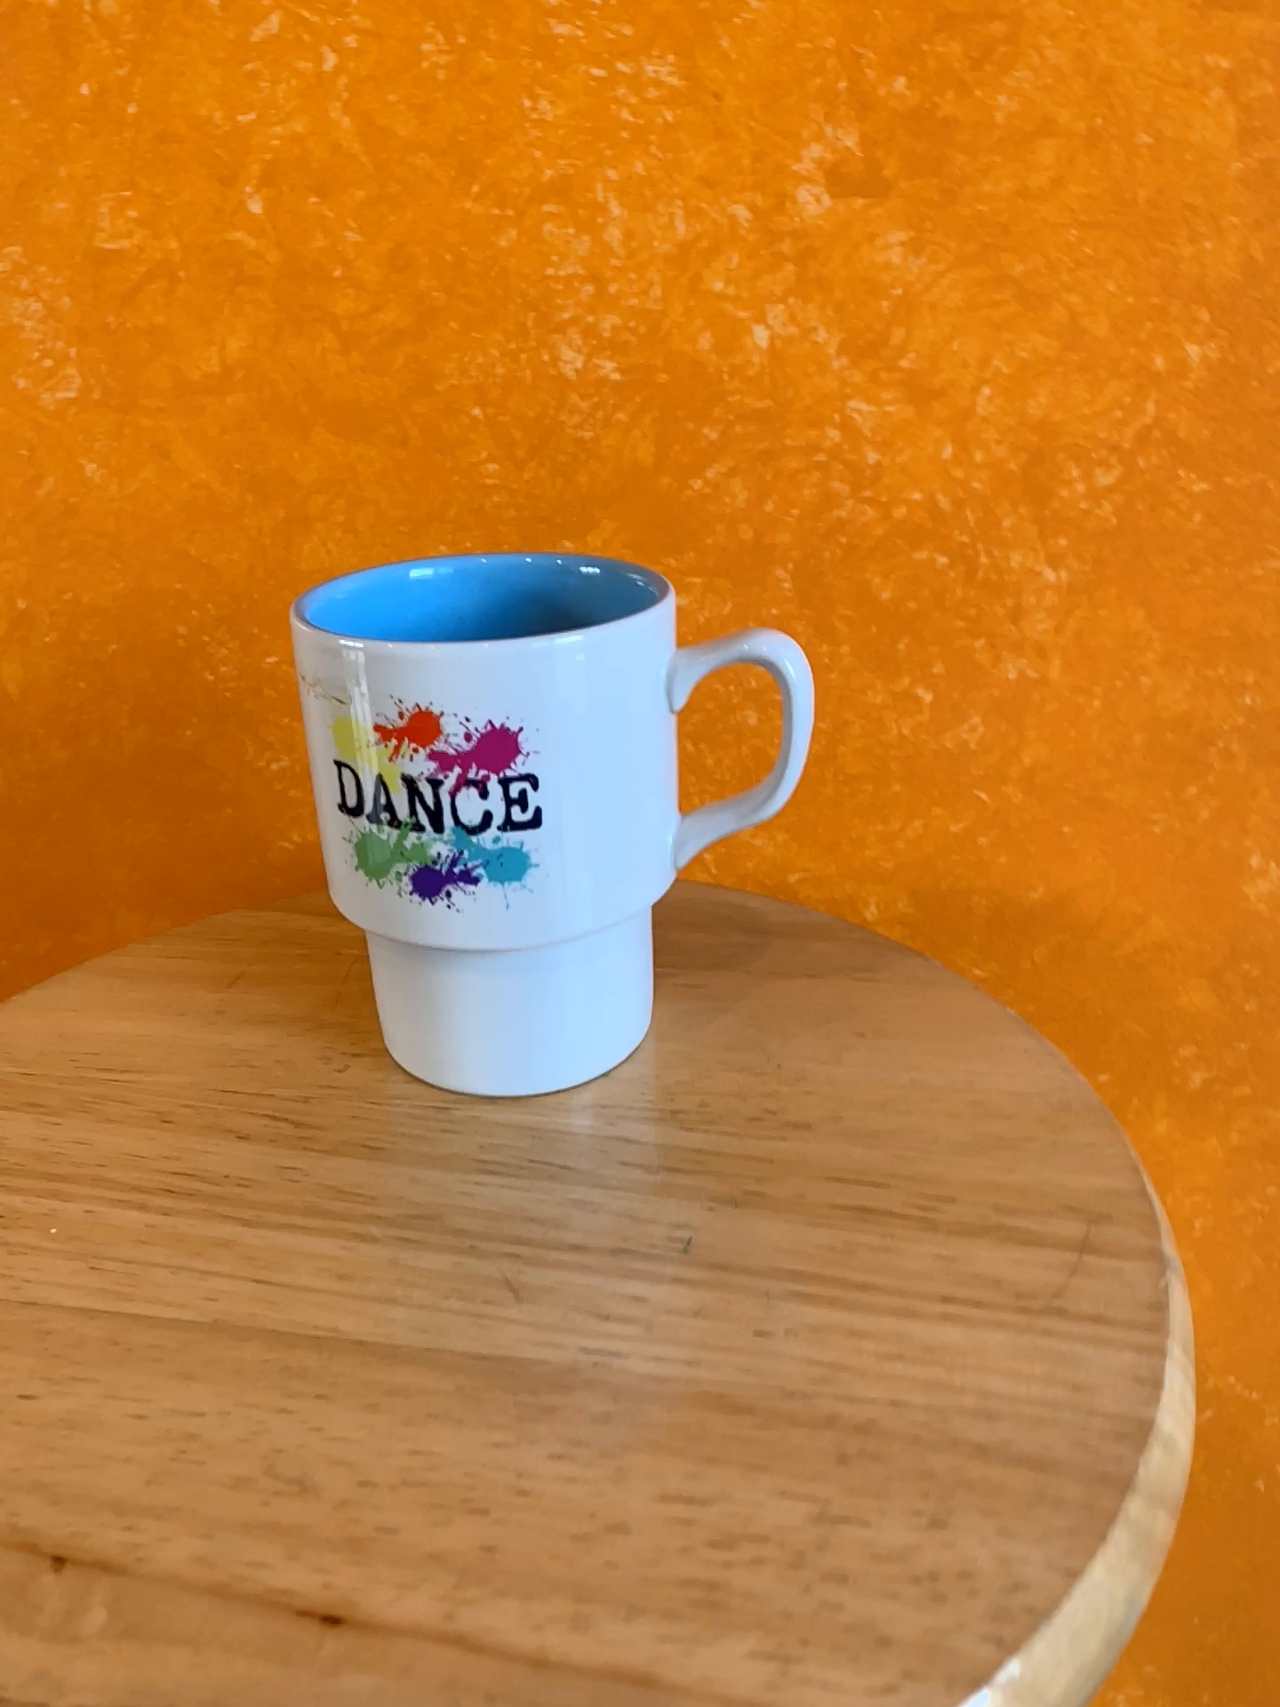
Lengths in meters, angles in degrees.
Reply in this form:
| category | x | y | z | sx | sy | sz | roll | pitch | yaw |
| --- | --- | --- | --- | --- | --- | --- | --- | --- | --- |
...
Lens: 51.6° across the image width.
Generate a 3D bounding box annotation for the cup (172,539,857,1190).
| category | x | y | z | sx | sy | sz | roll | pitch | yaw |
| --- | --- | --- | --- | --- | --- | --- | --- | --- | --- |
| cup | -0.021 | -0.005 | 0.298 | 0.120 | 0.109 | 0.080 | 7 | 25 | 18 |
